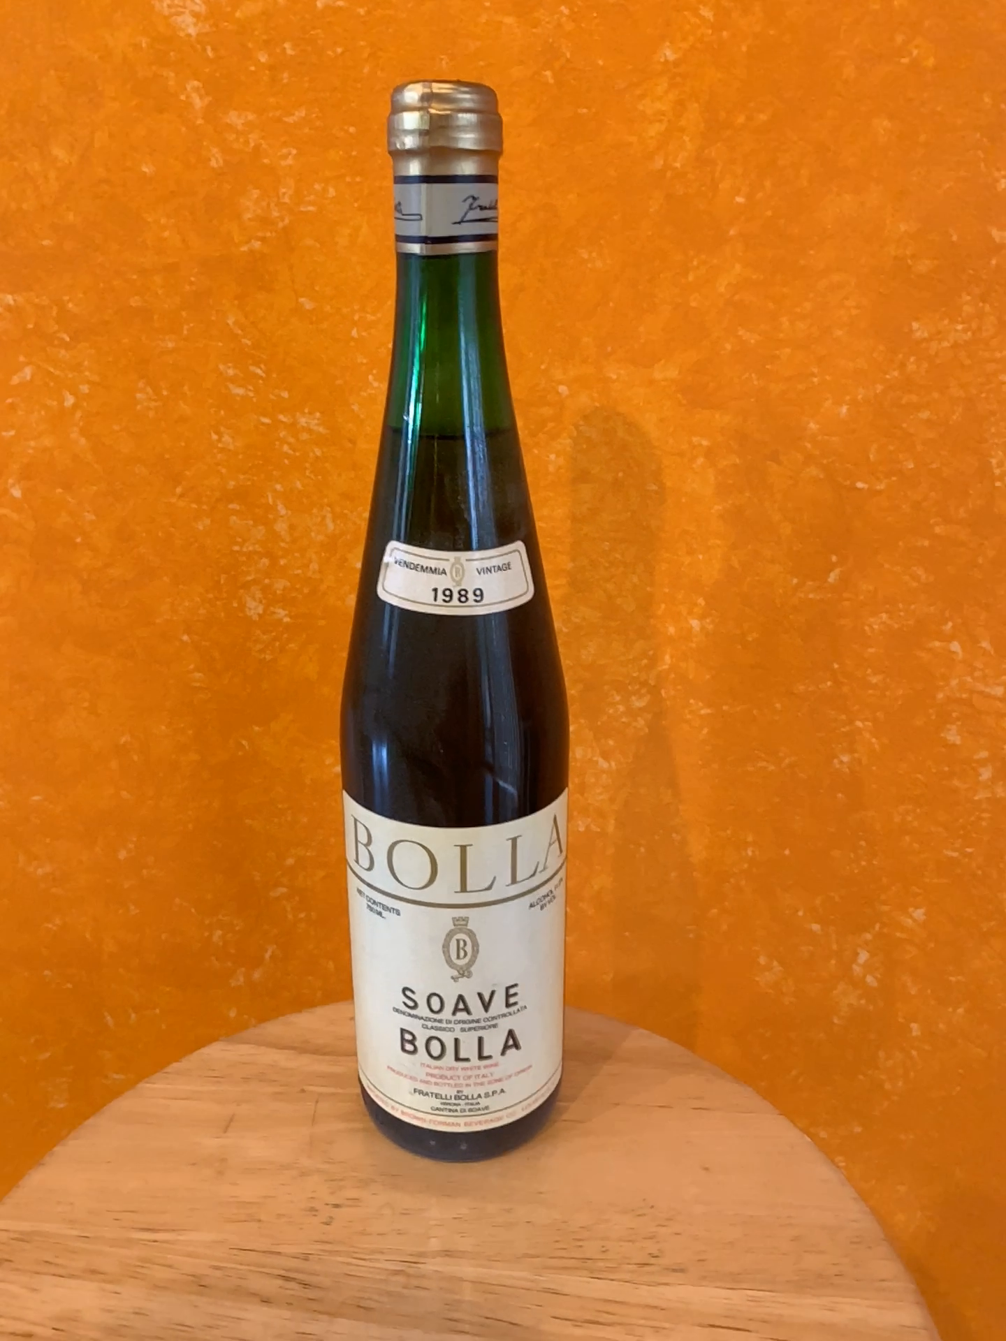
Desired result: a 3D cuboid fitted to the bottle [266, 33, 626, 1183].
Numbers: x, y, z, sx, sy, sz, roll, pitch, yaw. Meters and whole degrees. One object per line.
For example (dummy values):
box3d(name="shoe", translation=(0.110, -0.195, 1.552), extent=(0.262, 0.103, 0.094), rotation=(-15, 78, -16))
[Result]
box3d(name="bottle", translation=(-0.014, 0.003, 0.325), extent=(0.080, 0.338, 0.070), rotation=(0, 21, -1))
